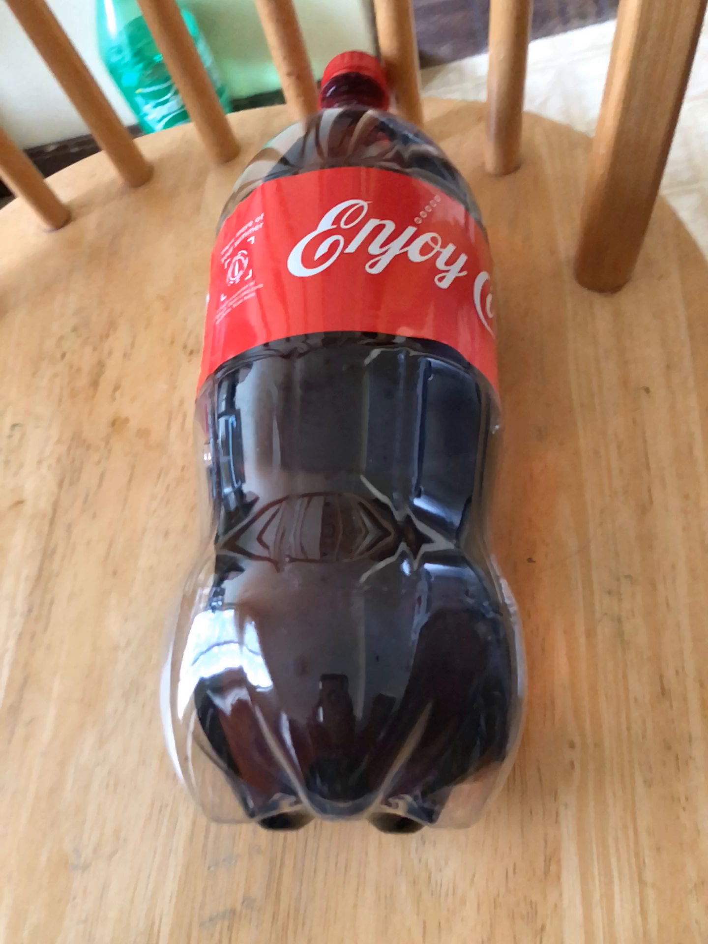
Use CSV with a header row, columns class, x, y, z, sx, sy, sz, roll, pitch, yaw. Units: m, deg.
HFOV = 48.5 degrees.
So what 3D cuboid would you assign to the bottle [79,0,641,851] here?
class,x,y,z,sx,sy,sz,roll,pitch,yaw
bottle,0.003,-0.045,0.281,0.100,0.120,0.320,-24,57,44
